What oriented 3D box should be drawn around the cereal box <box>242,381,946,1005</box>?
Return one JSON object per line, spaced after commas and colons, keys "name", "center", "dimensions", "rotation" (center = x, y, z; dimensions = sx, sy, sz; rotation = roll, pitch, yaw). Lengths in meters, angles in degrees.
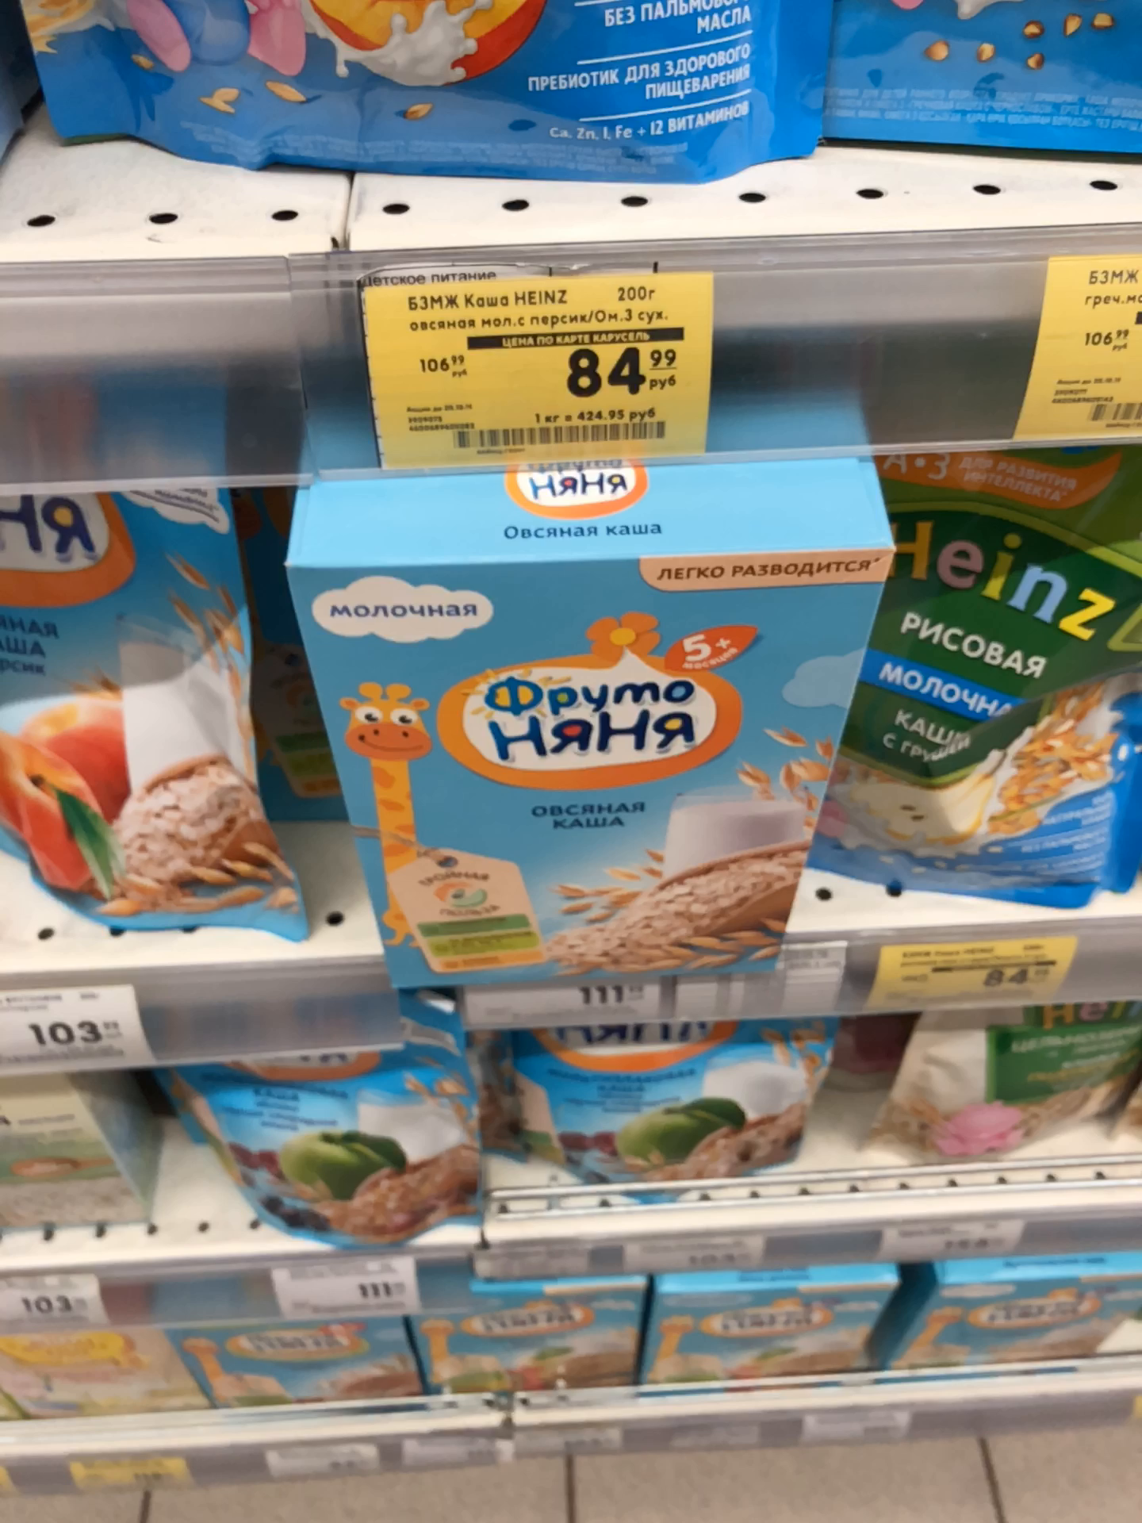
{"name": "cereal box", "center": [0.004, -0.003, 0.348], "dimensions": [0.140, 0.199, 0.050], "rotation": [-2, 54, -2]}
